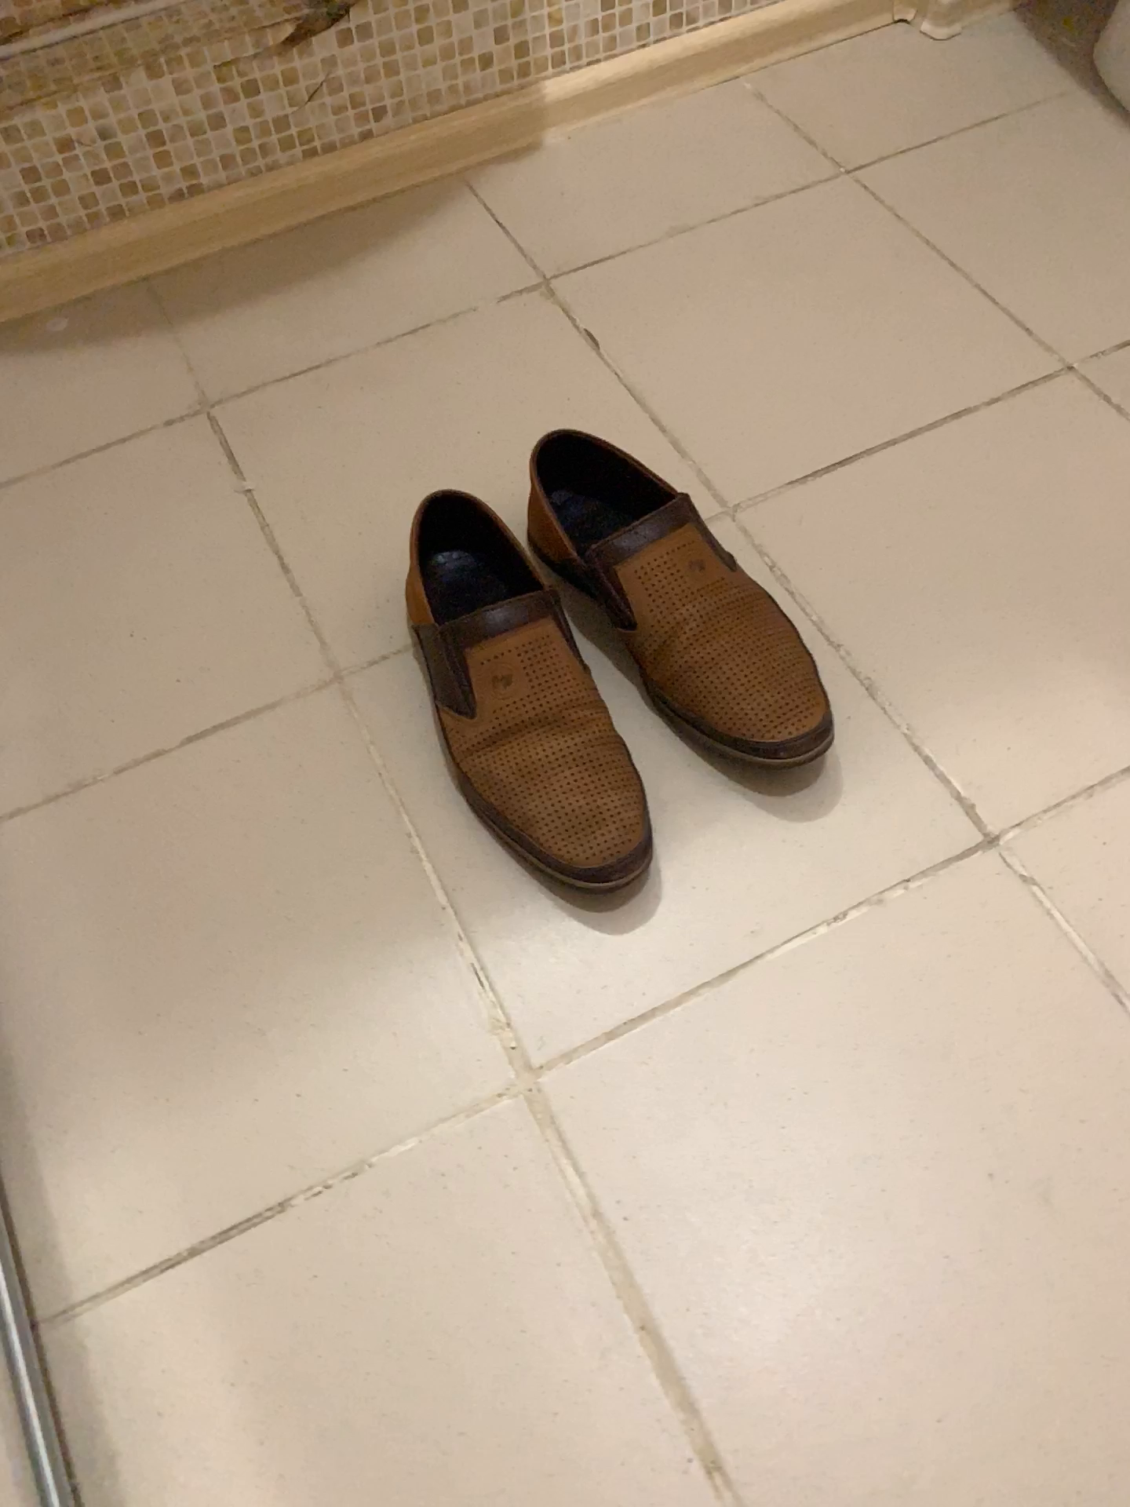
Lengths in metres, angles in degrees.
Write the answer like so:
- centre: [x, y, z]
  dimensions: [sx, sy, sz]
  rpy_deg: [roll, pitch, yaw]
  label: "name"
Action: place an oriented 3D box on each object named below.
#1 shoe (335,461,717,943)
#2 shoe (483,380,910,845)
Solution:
- centre: [-0.029, -0.040, 0.679]
  dimensions: [0.110, 0.080, 0.271]
  rpy_deg: [-24, 59, -11]
  label: "shoe"
- centre: [0.071, -0.098, 0.728]
  dimensions: [0.110, 0.090, 0.291]
  rpy_deg: [-28, 60, -13]
  label: "shoe"
